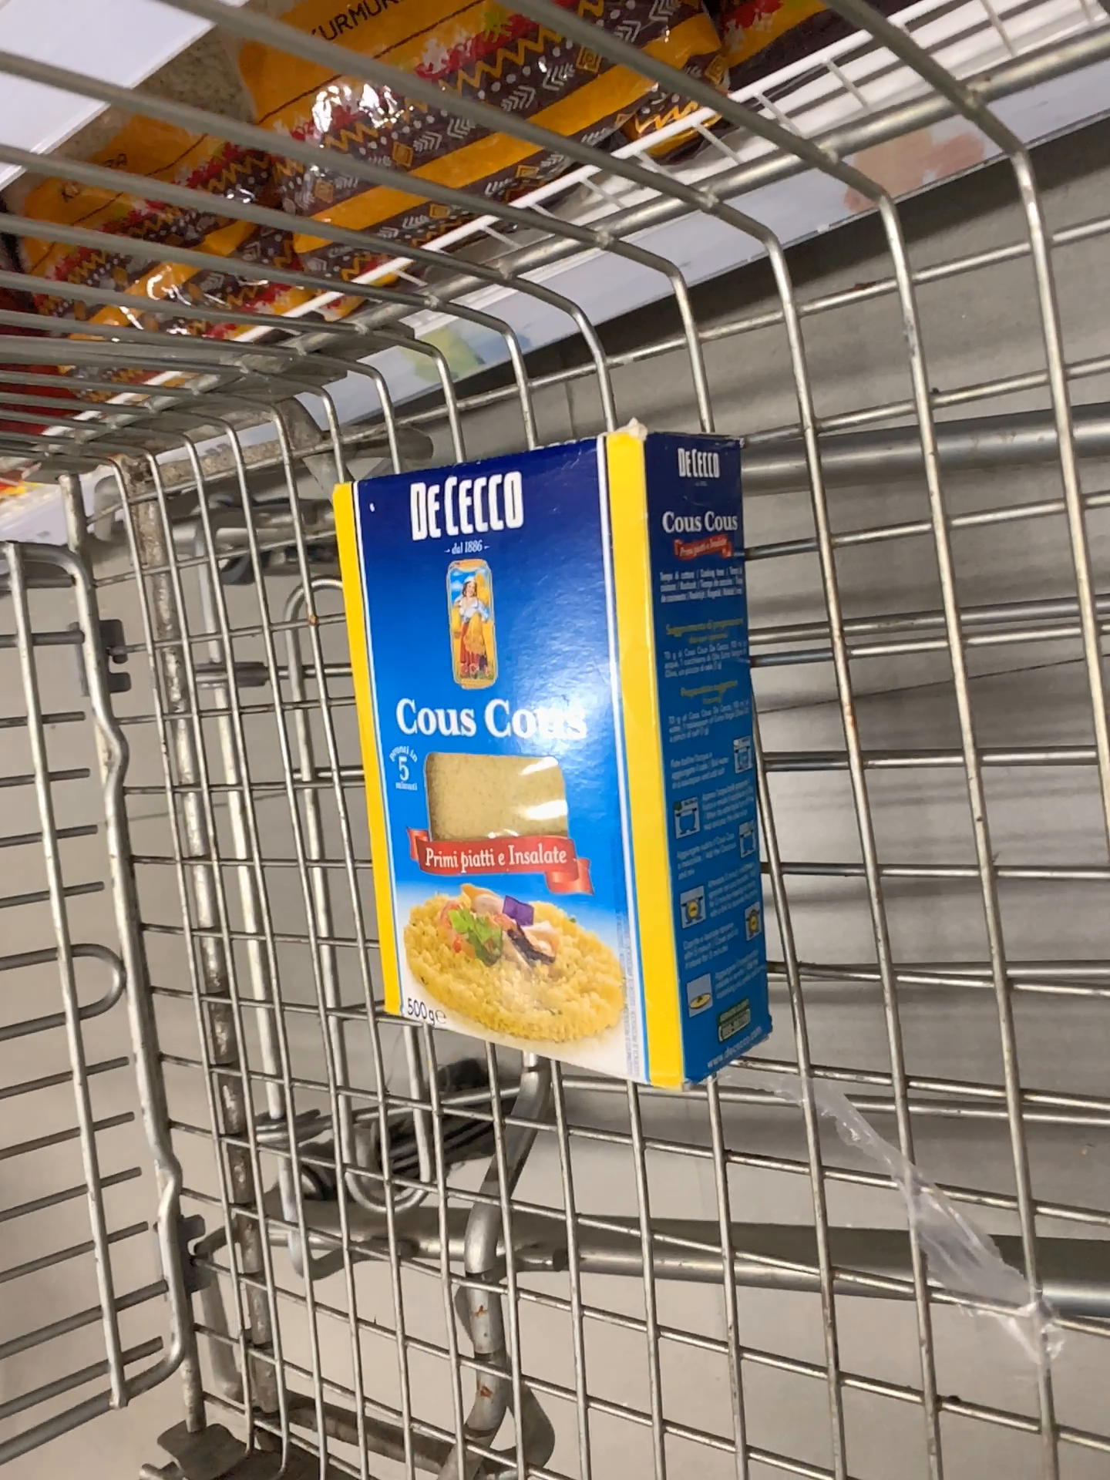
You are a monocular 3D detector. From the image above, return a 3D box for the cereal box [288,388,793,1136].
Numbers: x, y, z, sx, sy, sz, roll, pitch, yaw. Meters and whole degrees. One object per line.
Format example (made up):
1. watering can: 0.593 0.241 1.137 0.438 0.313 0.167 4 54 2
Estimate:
1. cereal box: -0.007 0.003 0.300 0.121 0.050 0.160 2 98 41
